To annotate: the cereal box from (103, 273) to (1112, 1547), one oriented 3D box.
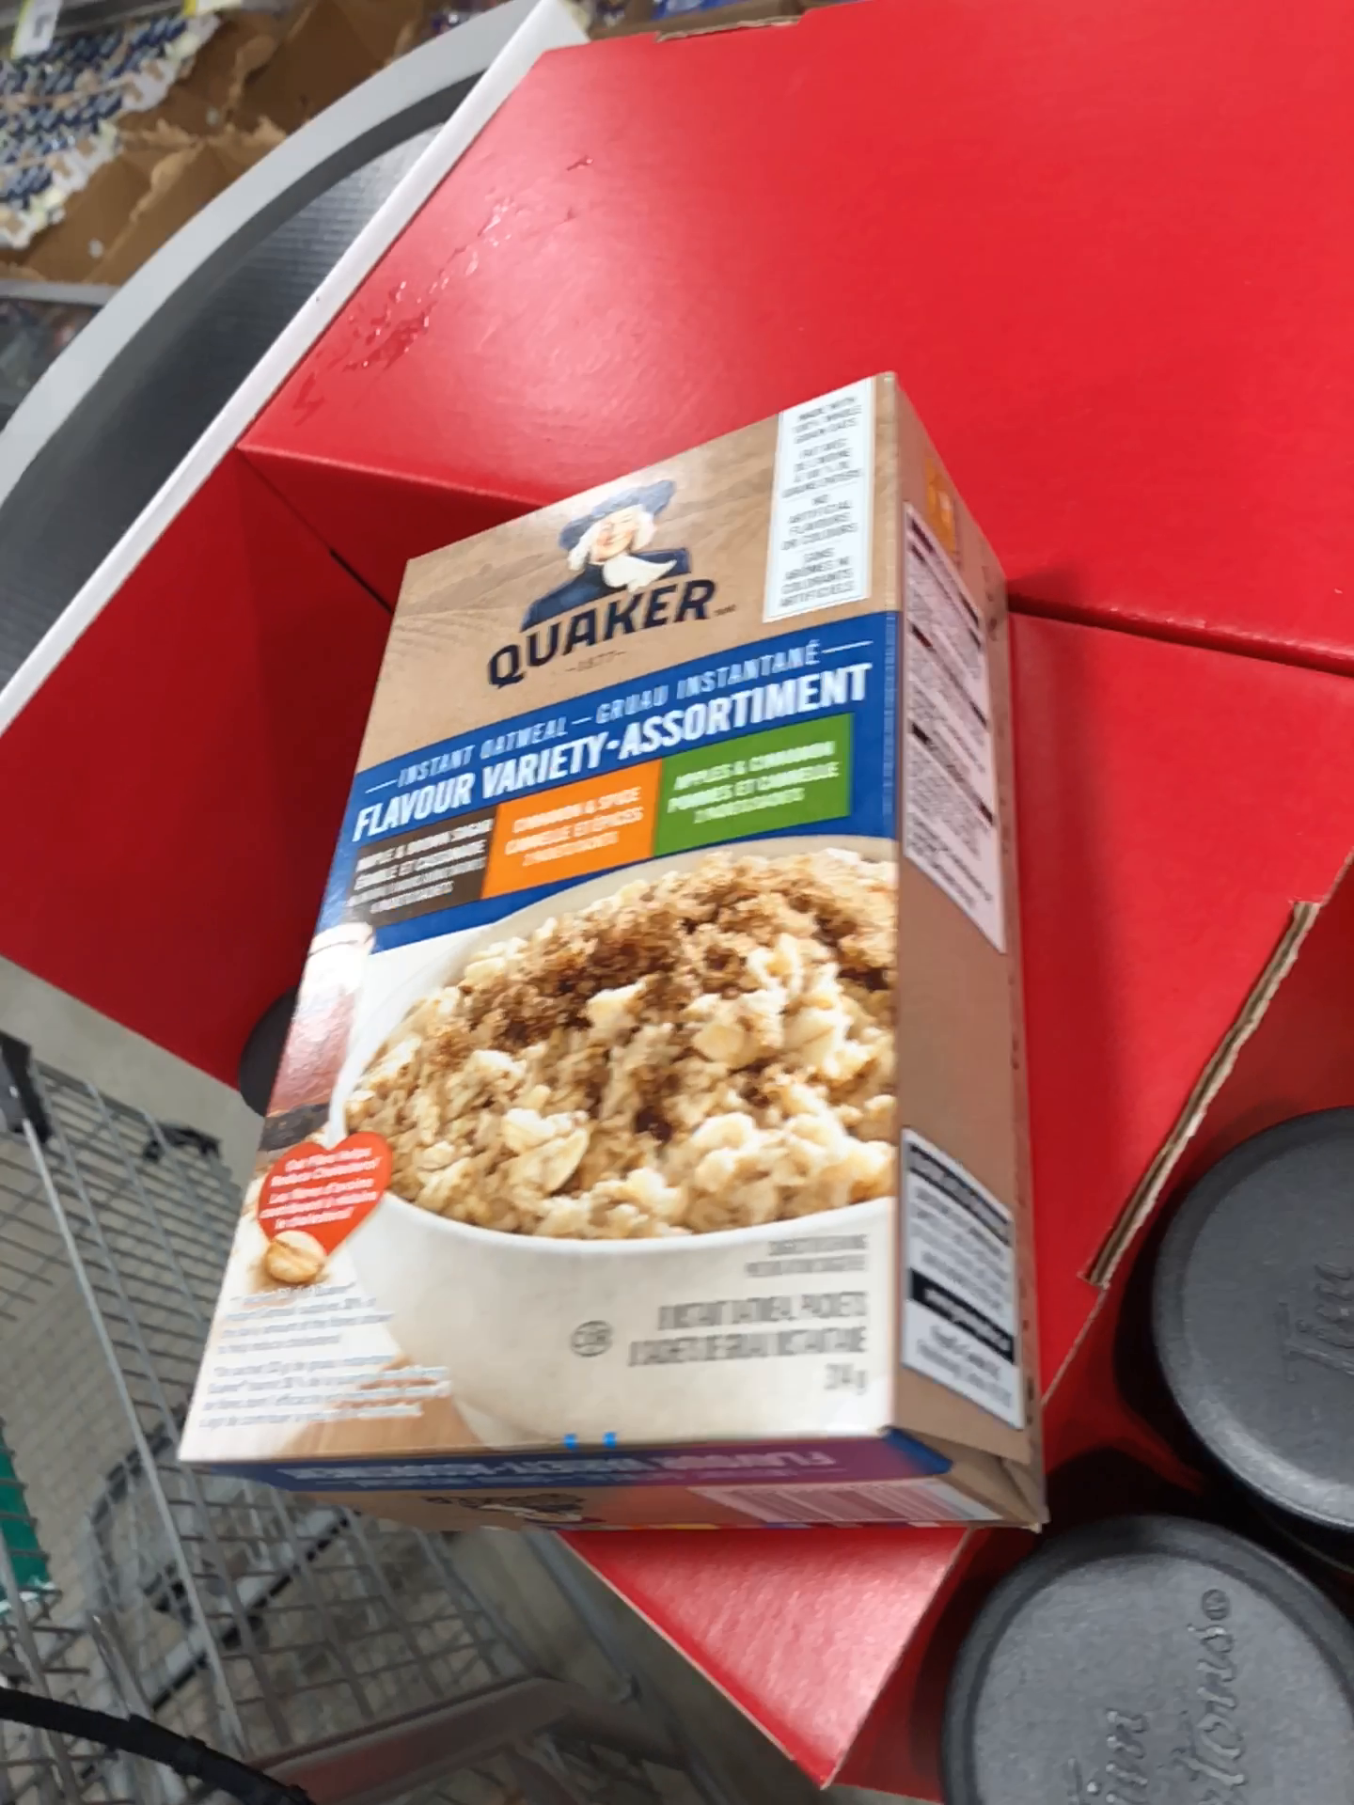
[{"bbox_3d":[-0.005,0.003,0.285,0.140,0.070,0.210,-13,55,28],"label":"cereal box"}]
